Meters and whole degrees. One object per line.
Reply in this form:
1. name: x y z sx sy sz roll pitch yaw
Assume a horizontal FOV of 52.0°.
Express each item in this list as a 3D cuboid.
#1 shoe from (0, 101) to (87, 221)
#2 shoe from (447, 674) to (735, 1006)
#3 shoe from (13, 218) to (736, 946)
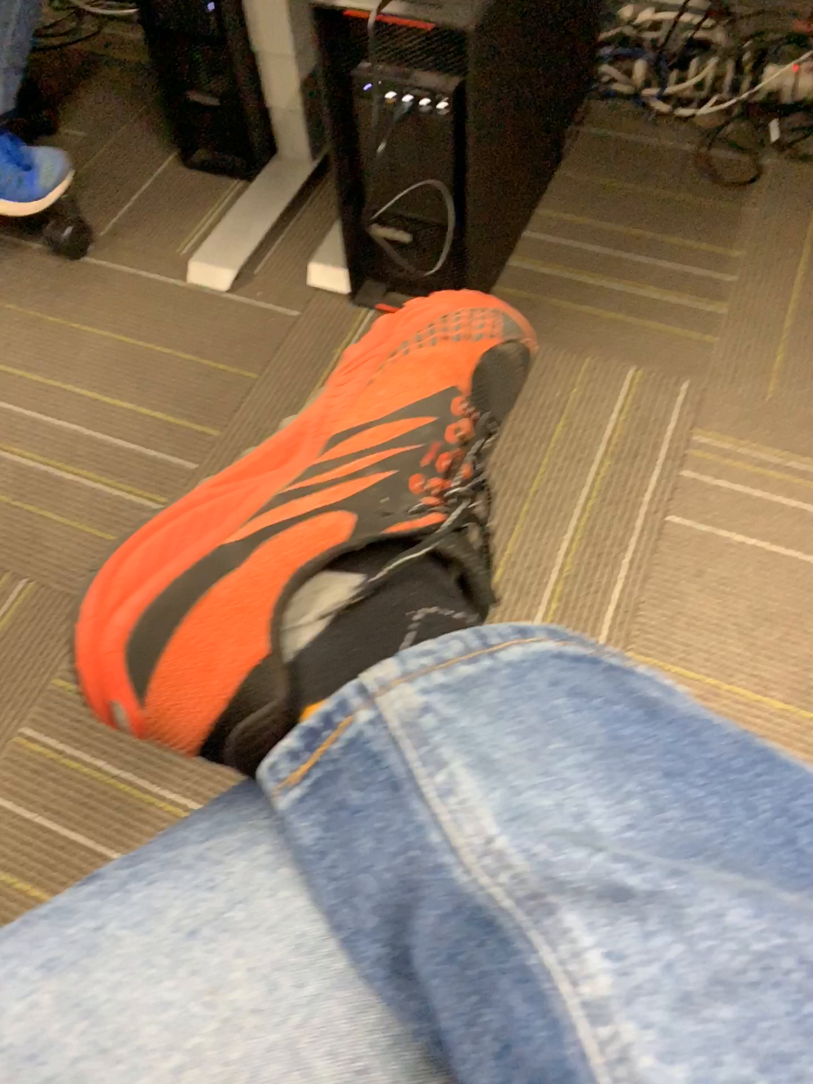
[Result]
1. shoe: -0.689 -0.593 1.320 0.114 0.115 0.319 40 36 20
2. shoe: 0.192 0.297 0.860 0.118 0.067 0.319 38 67 19
3. shoe: 0.009 -0.006 0.401 0.146 0.110 0.322 28 61 26
